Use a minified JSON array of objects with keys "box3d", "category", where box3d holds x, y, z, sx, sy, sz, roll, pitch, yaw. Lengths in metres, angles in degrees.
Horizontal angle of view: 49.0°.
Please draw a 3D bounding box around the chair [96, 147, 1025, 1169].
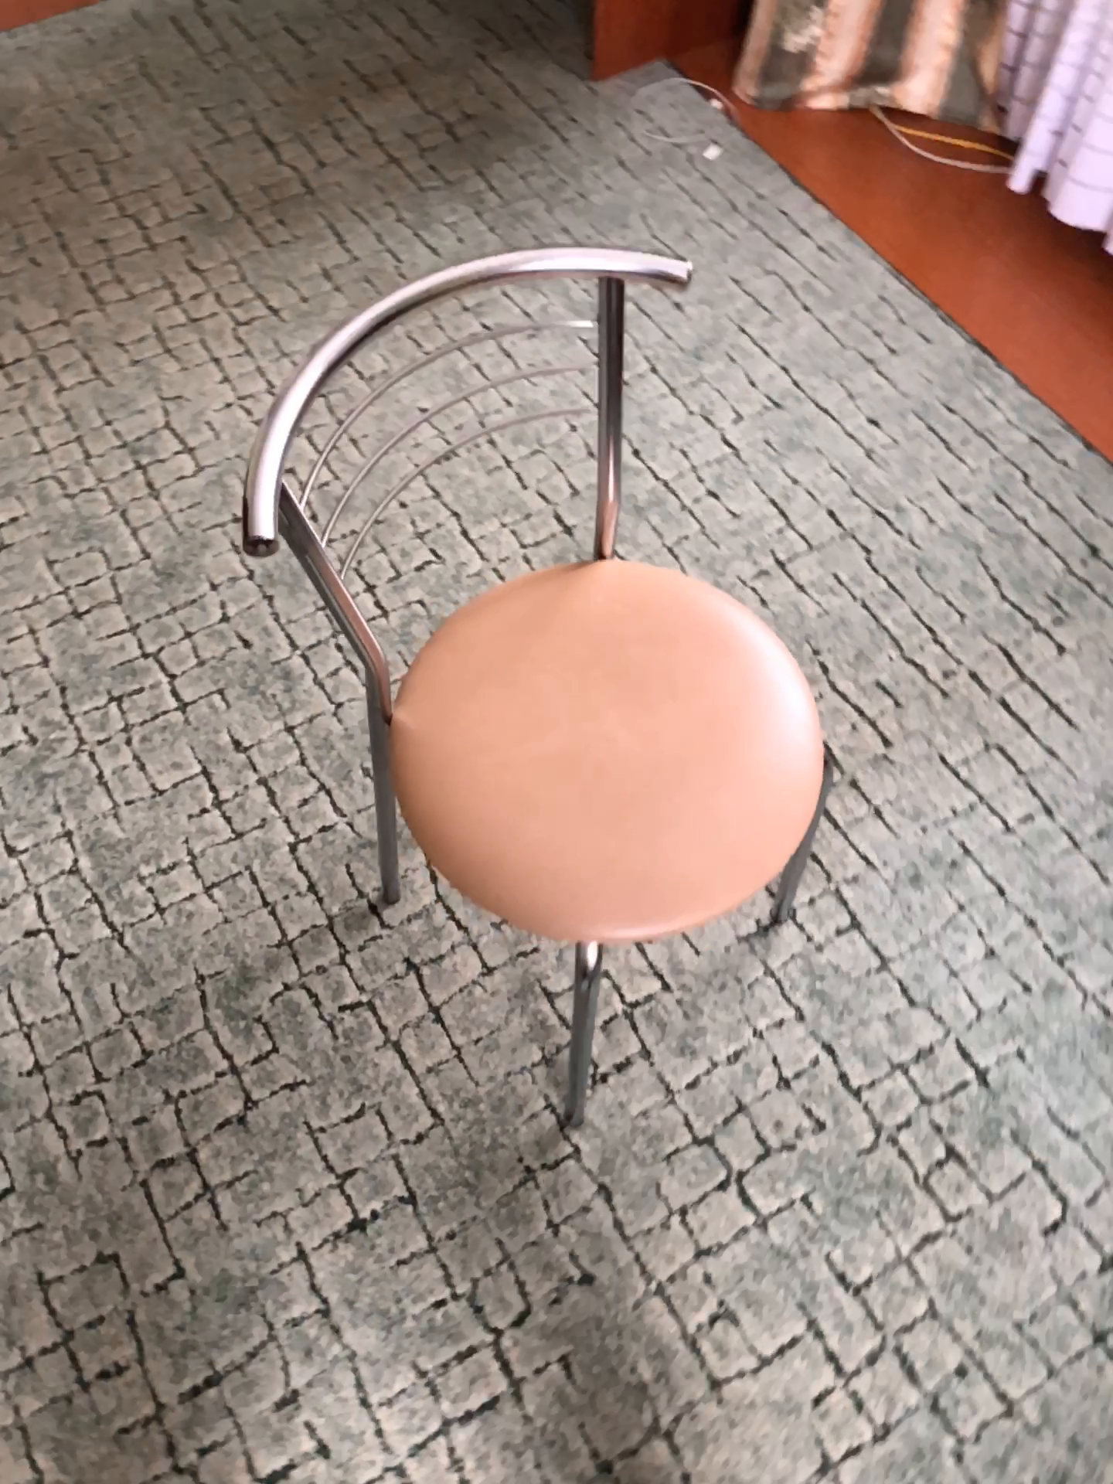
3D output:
[{"box3d":[0.003,-0.006,1.174,0.444,0.804,0.451,-39,66,-20],"category":"chair"}]
